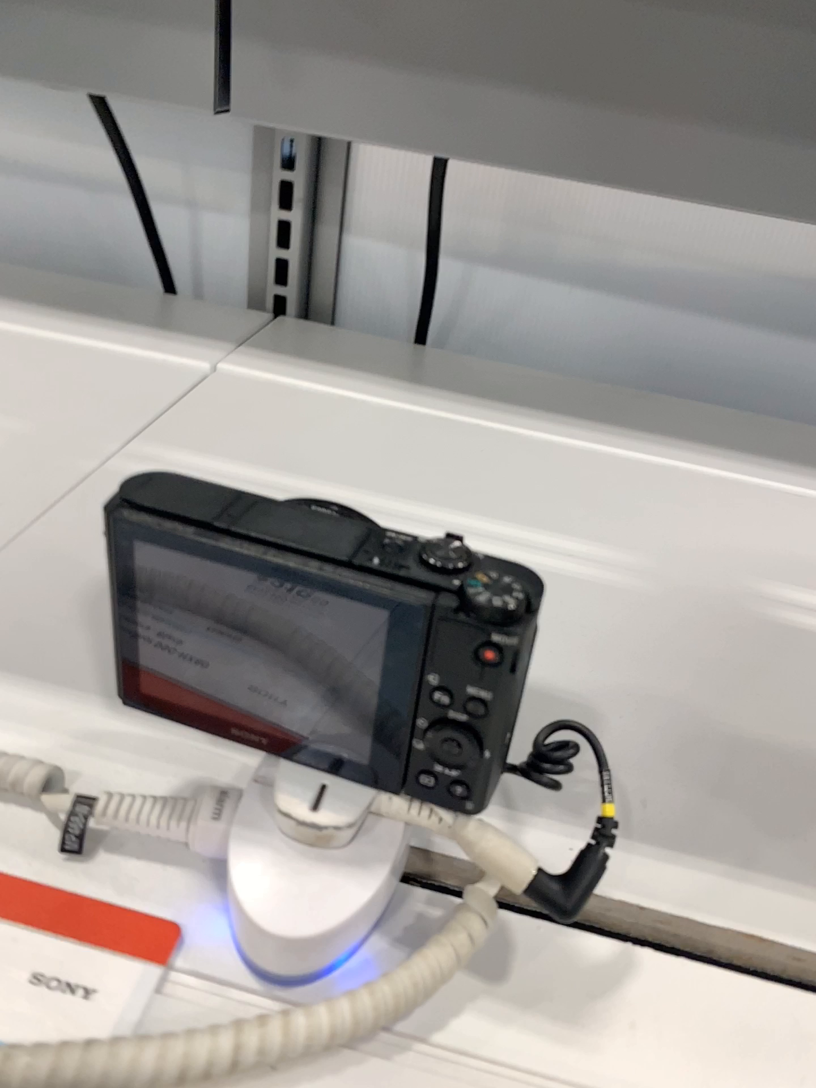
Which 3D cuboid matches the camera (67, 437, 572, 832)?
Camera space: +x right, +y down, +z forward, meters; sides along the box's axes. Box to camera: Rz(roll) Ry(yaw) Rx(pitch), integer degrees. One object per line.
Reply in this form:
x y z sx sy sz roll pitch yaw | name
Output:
-0.021 0.019 0.199 0.104 0.052 0.040 16 31 9 | camera
